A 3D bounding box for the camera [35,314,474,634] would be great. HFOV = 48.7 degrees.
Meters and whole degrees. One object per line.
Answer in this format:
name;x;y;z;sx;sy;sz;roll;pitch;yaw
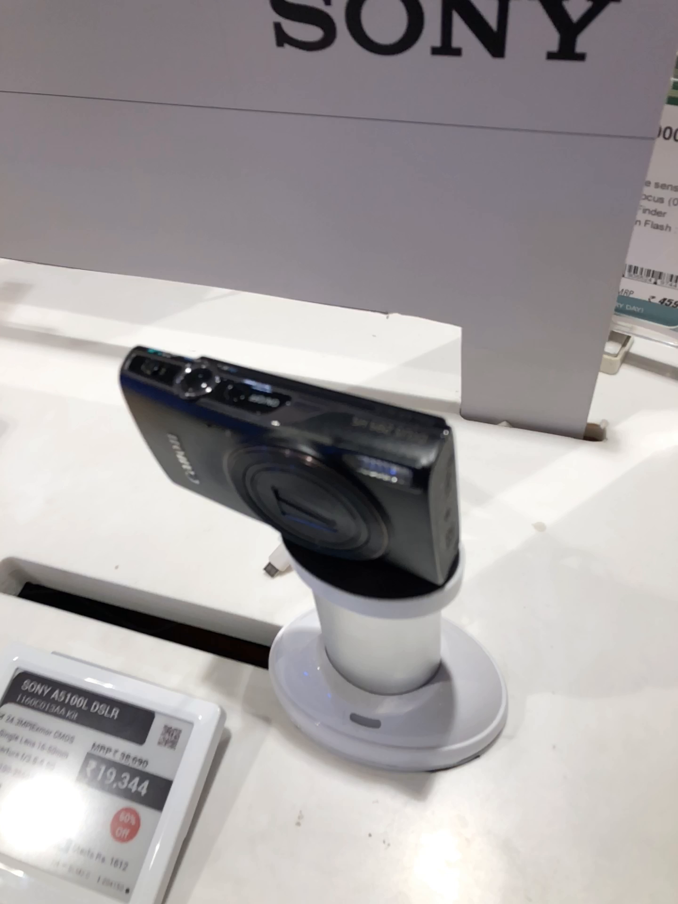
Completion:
camera;-0.021;0.006;0.210;0.110;0.060;0.030;17;55;19
